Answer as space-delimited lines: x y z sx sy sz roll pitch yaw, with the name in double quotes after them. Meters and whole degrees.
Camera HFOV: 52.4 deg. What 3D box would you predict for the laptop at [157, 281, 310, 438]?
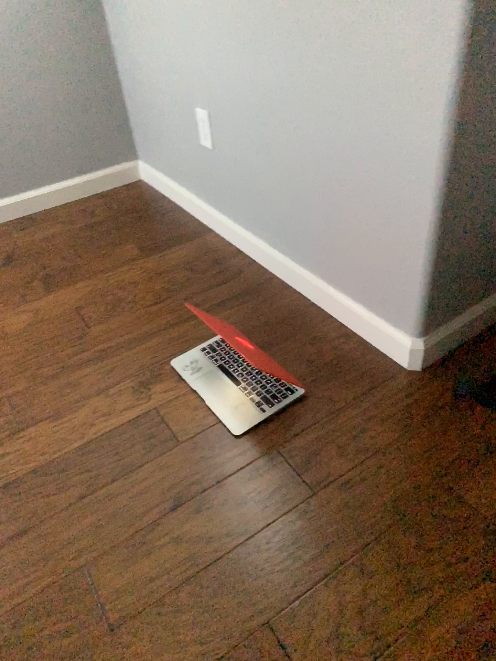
-0.035 0.050 1.131 0.198 0.139 0.303 -27 43 -23 "laptop"
